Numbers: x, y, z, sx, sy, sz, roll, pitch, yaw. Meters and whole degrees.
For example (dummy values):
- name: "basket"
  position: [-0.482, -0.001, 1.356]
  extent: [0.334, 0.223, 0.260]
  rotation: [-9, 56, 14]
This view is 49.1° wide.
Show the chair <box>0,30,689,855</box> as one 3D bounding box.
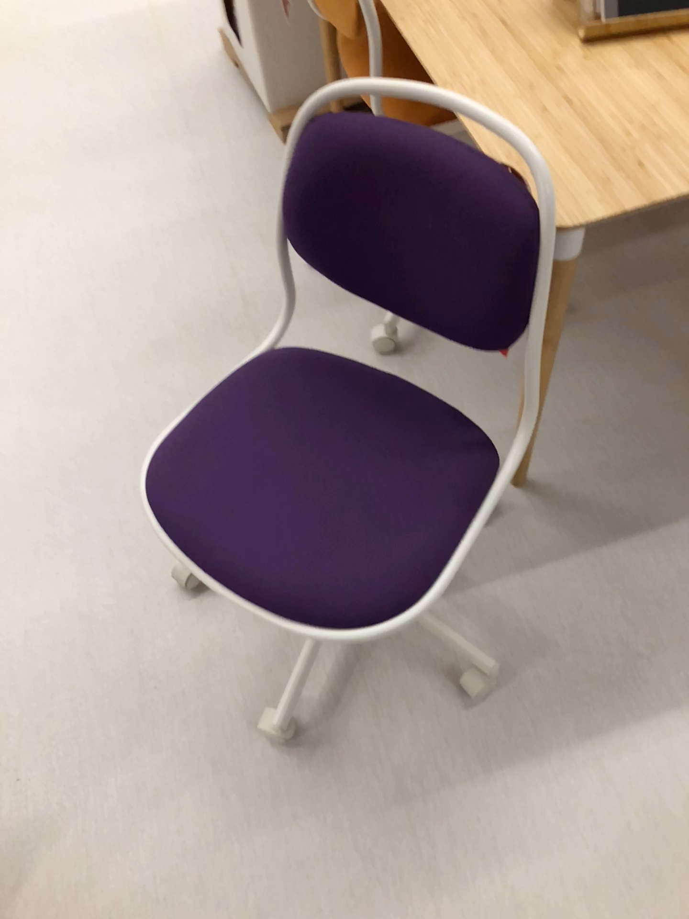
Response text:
- name: "chair"
  position: [0.001, 0.015, 1.075]
  extent: [0.622, 0.776, 0.662]
  rotation: [30, 65, 23]
